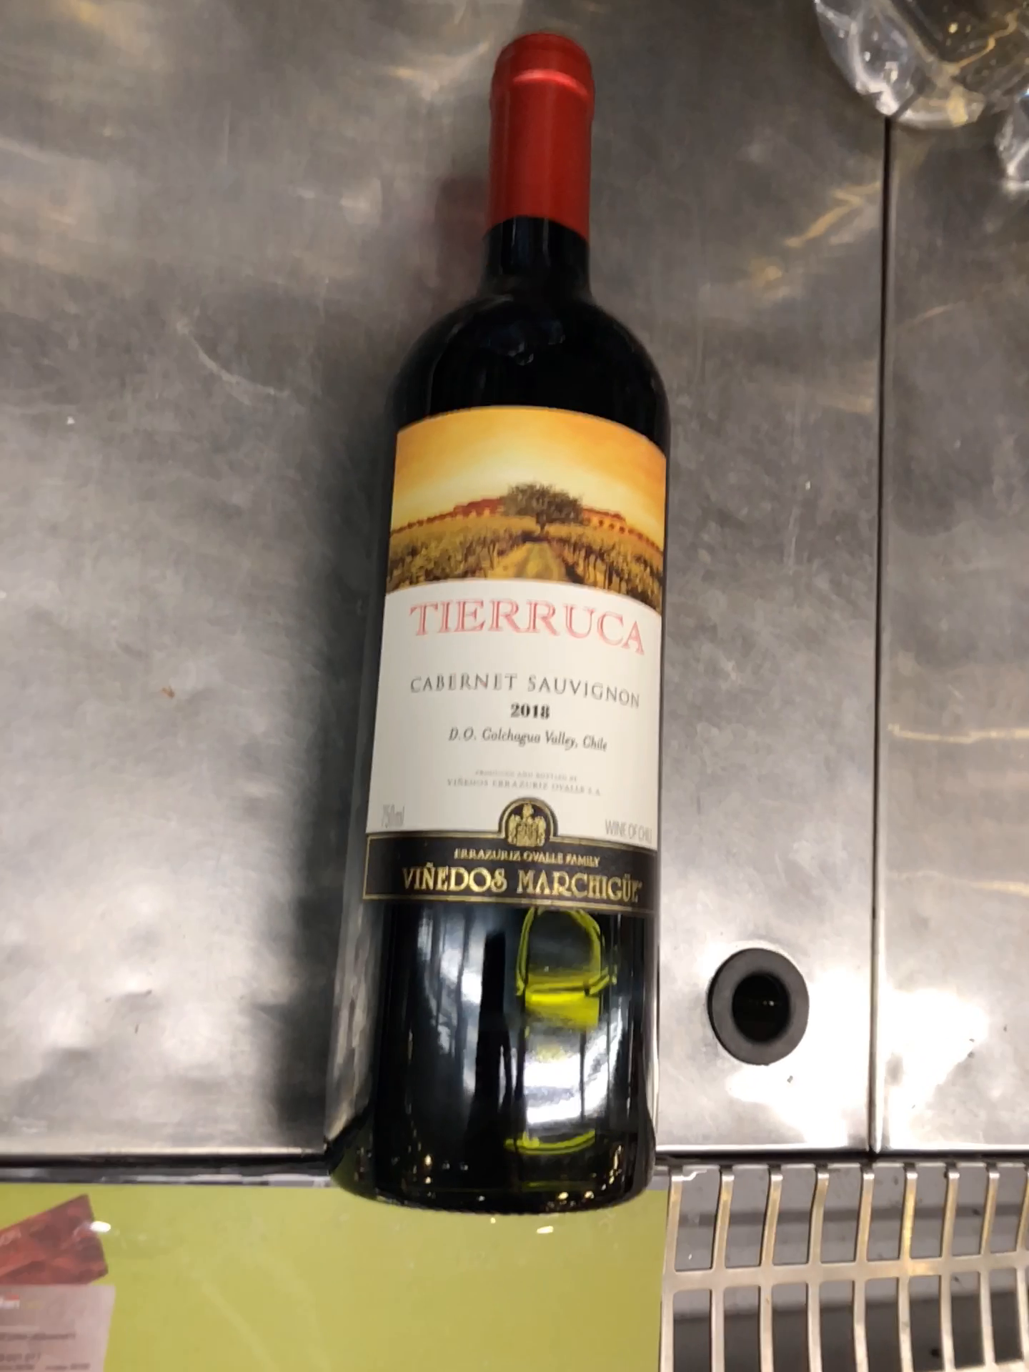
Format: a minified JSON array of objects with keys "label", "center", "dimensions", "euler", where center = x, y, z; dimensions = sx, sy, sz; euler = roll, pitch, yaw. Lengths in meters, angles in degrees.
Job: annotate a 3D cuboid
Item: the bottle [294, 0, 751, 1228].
[{"label":"bottle","center":[0.007,-0.042,0.281],"dimensions":[0.080,0.050,0.310],"euler":[9,78,-23]}]
